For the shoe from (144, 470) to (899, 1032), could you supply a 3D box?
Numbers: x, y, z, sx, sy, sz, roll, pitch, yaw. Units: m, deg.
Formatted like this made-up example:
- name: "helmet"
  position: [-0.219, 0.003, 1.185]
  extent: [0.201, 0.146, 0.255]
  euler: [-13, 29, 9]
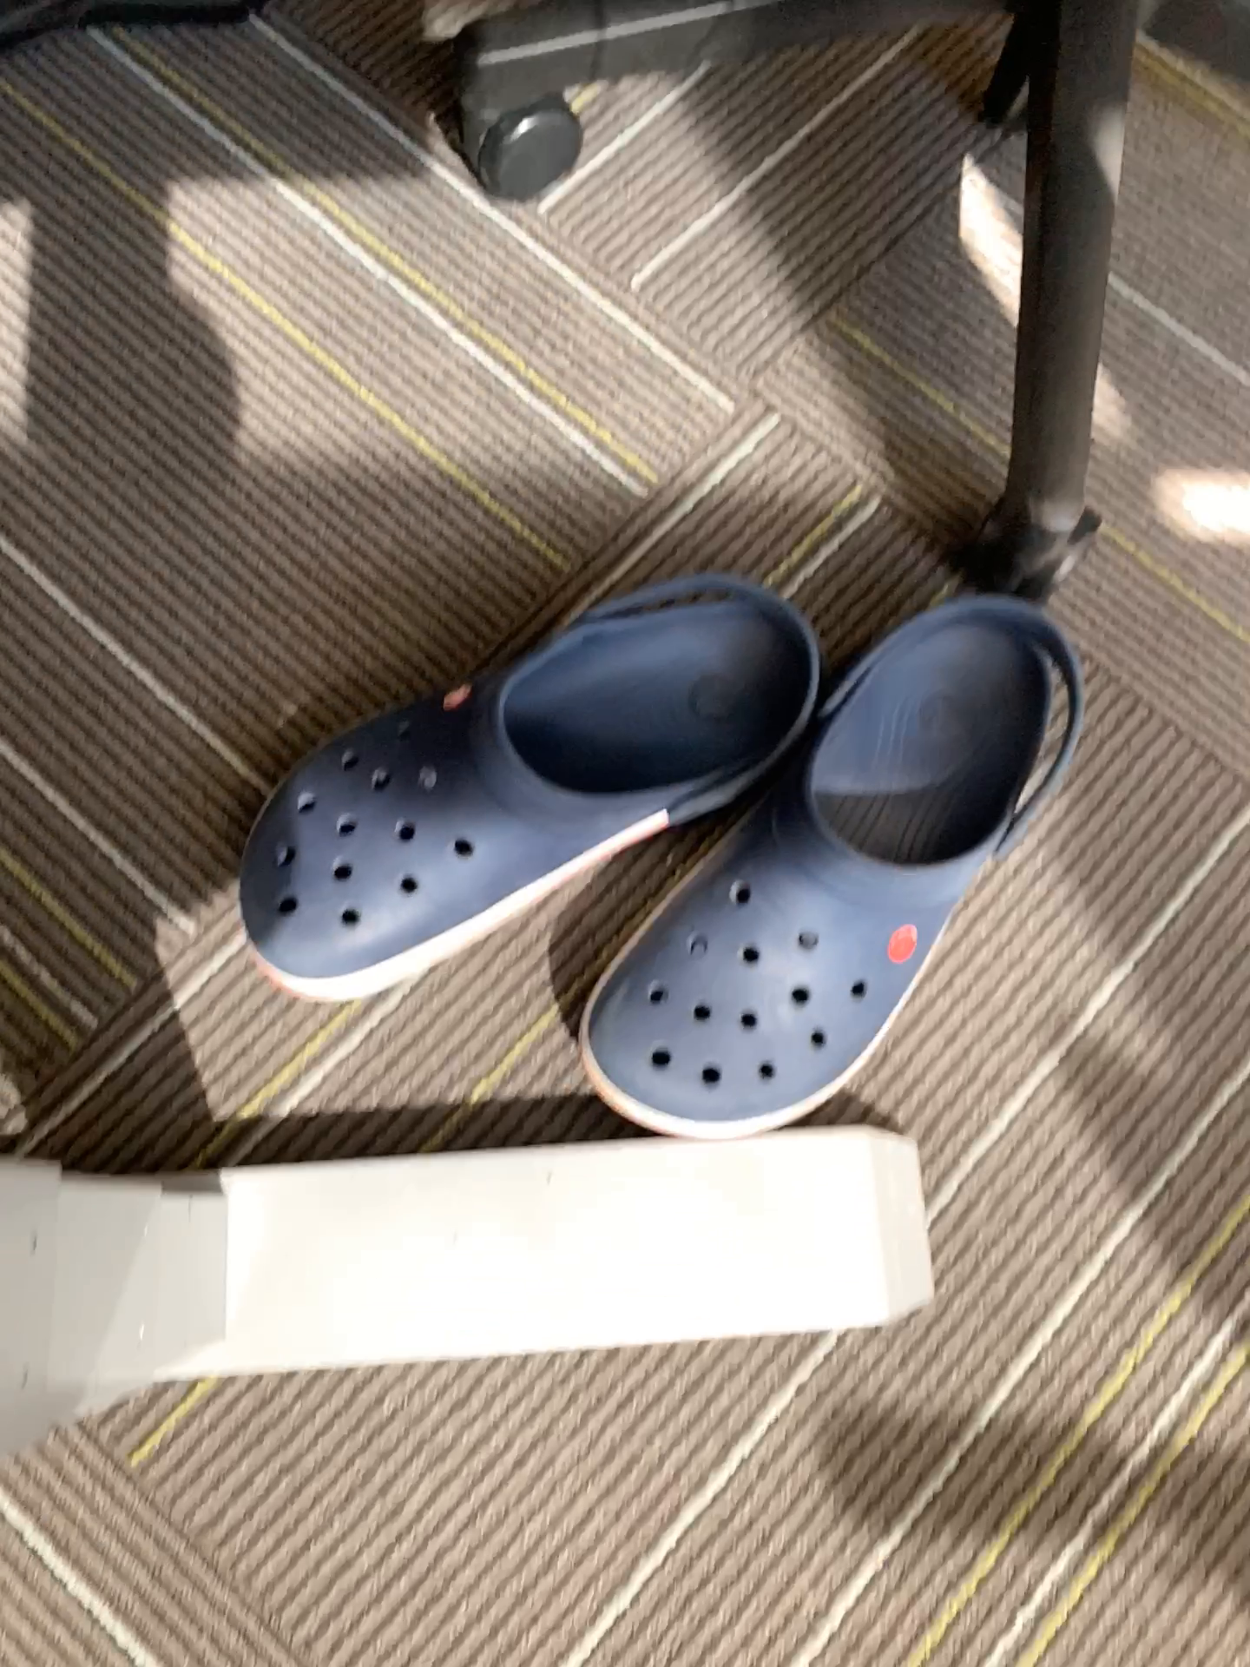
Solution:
- name: "shoe"
  position: [-0.046, -0.040, 0.627]
  extent: [0.320, 0.080, 0.130]
  euler: [-27, 78, -9]

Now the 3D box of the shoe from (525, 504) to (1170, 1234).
- name: "shoe"
  position: [0.107, 0.013, 0.623]
  extent: [0.130, 0.080, 0.330]
  euler: [37, 76, 7]
